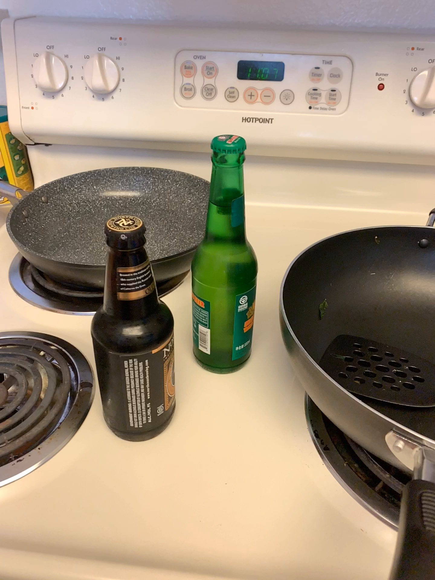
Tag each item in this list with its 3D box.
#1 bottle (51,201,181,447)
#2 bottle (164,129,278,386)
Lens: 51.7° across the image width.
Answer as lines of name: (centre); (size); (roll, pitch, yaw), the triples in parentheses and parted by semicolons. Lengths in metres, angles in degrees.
bottle: (-0.068, 0.033, 0.354); (0.070, 0.189, 0.070); (0, 35, 0)
bottle: (0.001, -0.021, 0.391); (0.060, 0.209, 0.060); (0, 35, 0)
